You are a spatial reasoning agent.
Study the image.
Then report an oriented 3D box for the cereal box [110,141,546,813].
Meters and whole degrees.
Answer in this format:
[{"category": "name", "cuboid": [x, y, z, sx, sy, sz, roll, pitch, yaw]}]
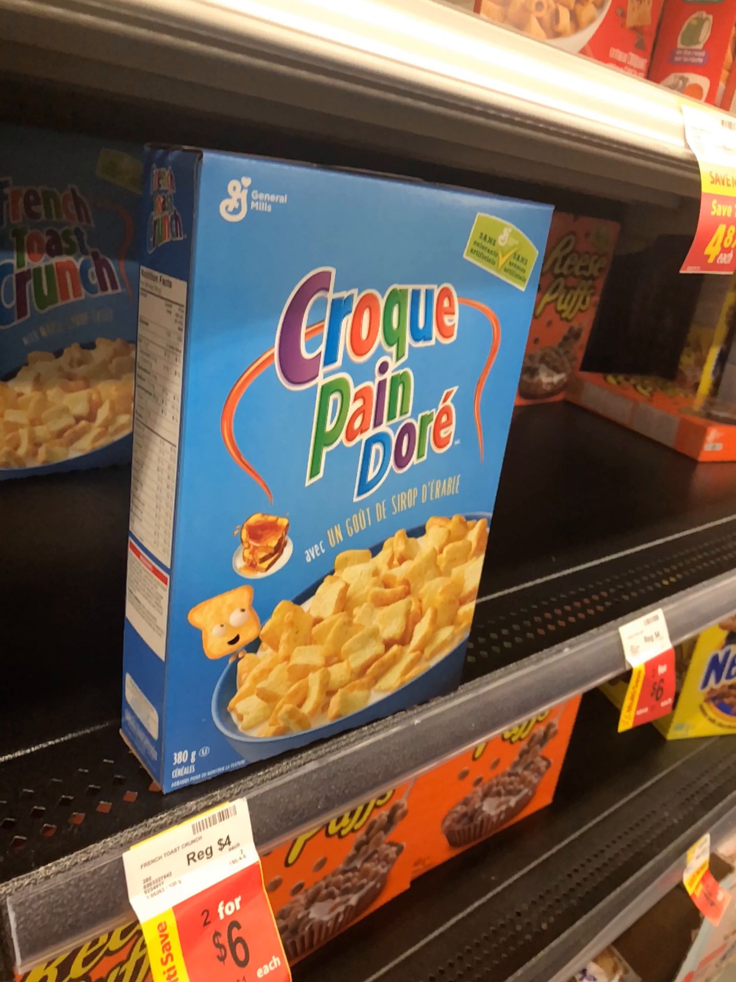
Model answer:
[{"category": "cereal box", "cuboid": [-0.023, -0.007, 0.426, 0.200, 0.299, 0.060, -7, 22, -37]}]
